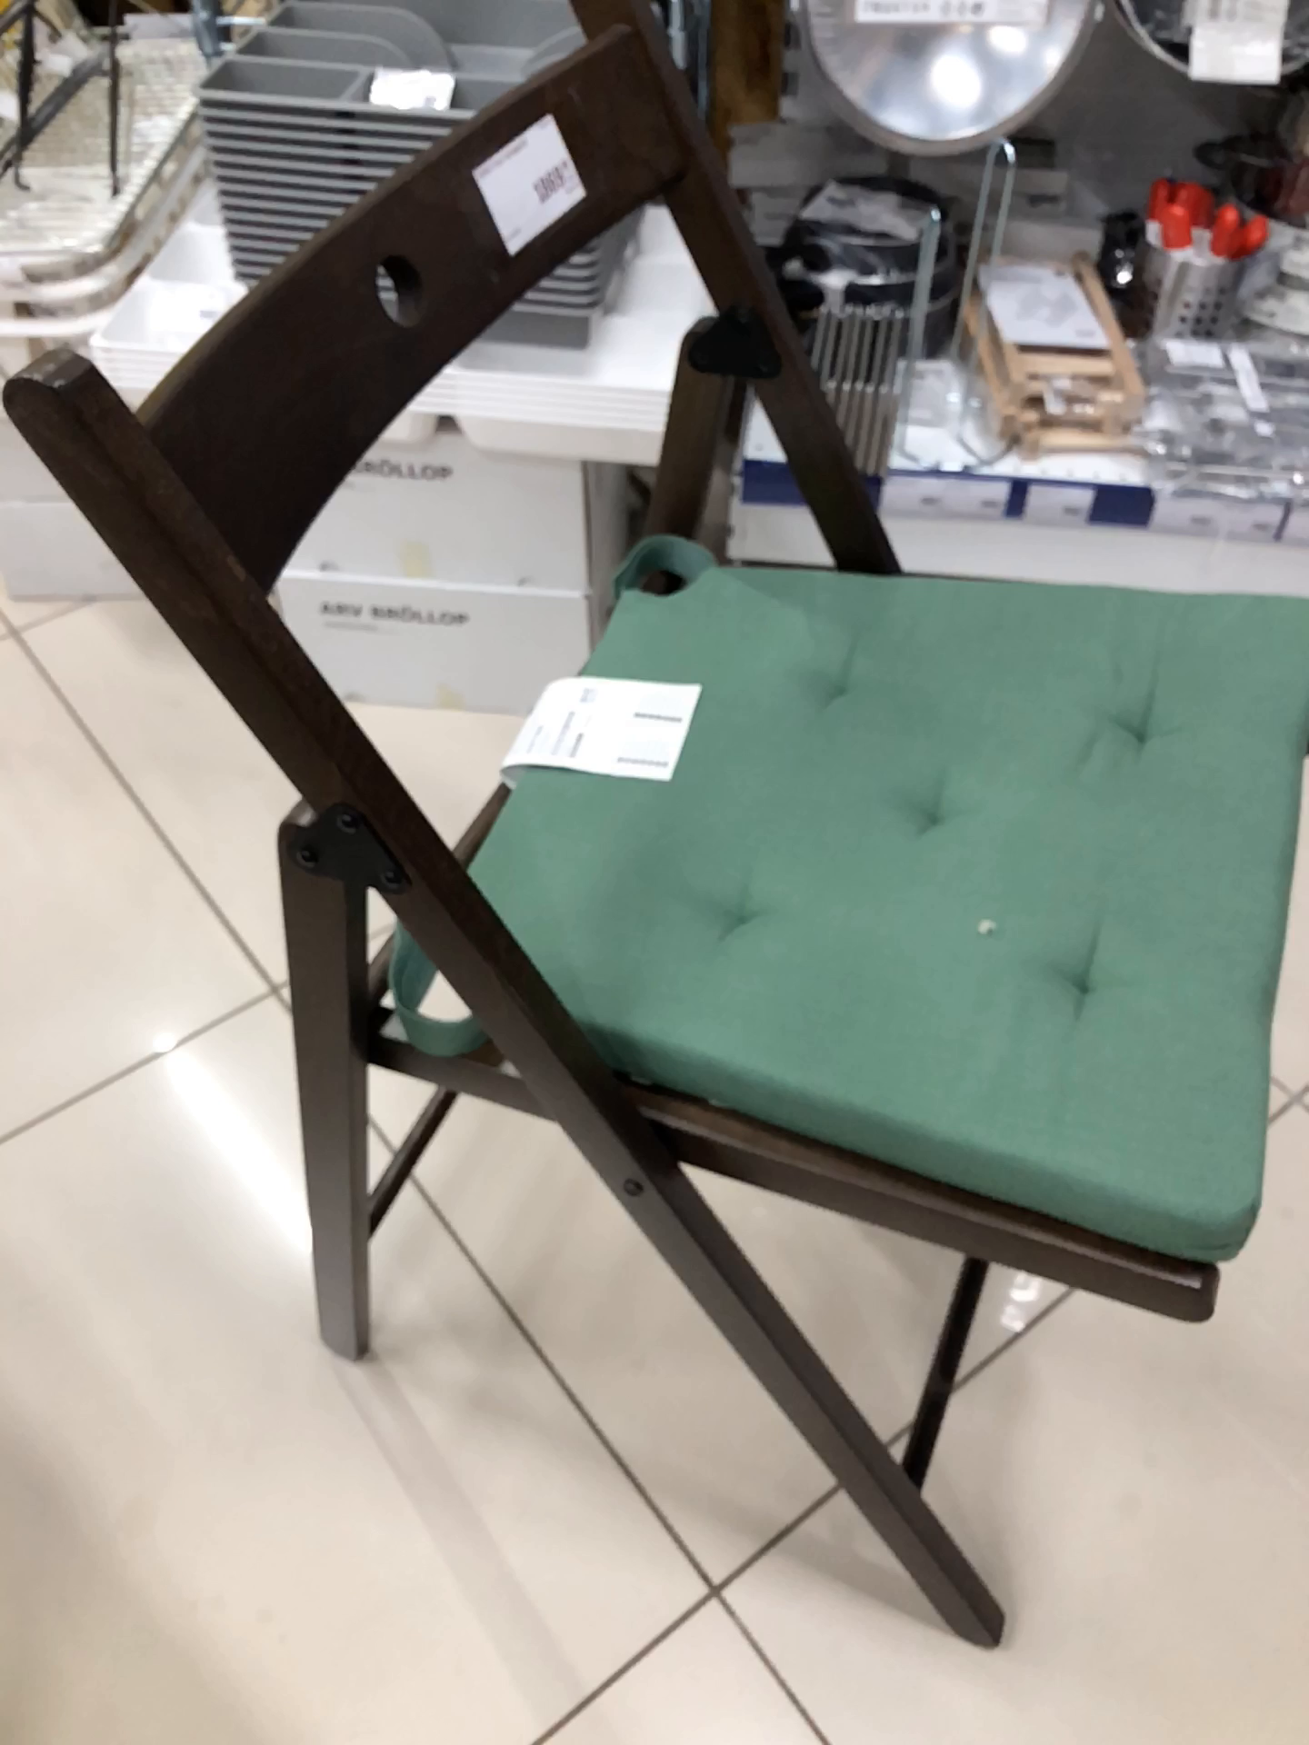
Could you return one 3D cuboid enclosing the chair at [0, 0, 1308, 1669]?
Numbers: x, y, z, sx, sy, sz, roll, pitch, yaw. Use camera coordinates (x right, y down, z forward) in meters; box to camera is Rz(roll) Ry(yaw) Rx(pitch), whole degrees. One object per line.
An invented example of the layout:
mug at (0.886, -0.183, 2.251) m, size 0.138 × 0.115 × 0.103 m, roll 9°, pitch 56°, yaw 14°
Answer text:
chair at (0.073, -0.001, 0.757) m, size 0.480 × 0.686 × 0.443 m, roll 17°, pitch 51°, yaw 15°
